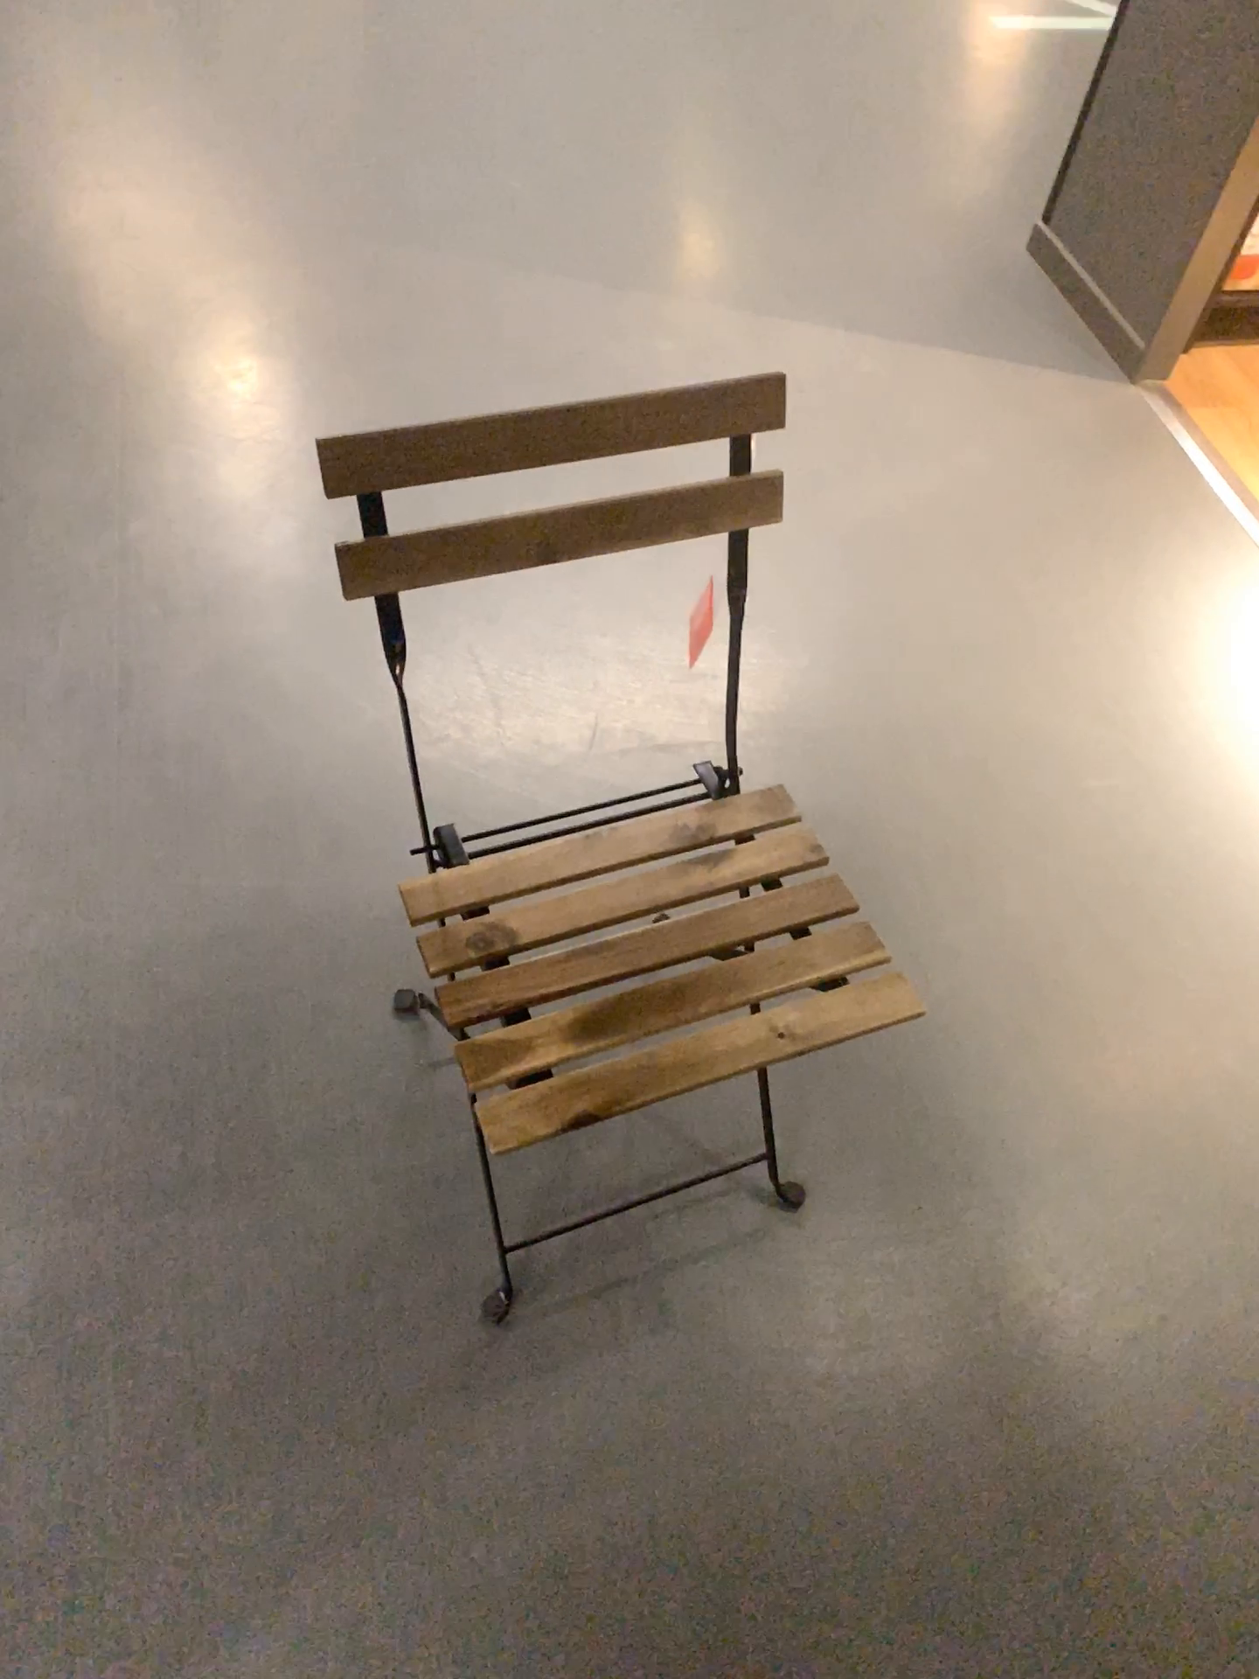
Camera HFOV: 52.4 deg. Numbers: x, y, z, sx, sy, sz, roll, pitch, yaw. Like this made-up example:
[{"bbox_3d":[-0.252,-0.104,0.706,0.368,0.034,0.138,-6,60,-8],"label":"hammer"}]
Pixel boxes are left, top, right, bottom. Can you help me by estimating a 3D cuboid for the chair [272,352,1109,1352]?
[{"bbox_3d":[-0.014,0.041,1.154,0.420,0.698,0.501,-14,55,-17],"label":"chair"}]
